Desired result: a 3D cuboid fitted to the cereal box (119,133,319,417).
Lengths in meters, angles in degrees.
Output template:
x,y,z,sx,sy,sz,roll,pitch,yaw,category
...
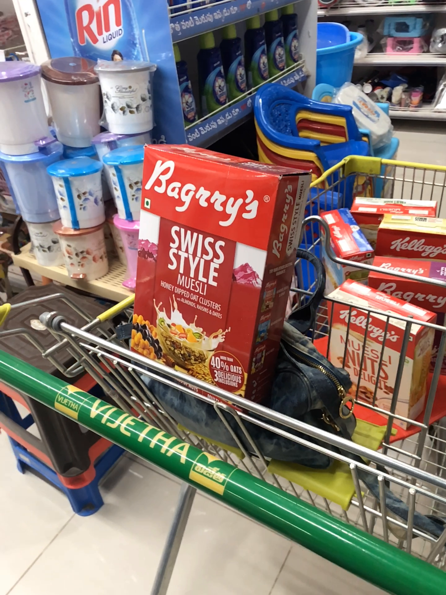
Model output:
x,y,z,sx,sy,sz,roll,pitch,yaw,category
-0.018,-0.034,0.549,0.191,0.259,0.070,22,23,36,cereal box
